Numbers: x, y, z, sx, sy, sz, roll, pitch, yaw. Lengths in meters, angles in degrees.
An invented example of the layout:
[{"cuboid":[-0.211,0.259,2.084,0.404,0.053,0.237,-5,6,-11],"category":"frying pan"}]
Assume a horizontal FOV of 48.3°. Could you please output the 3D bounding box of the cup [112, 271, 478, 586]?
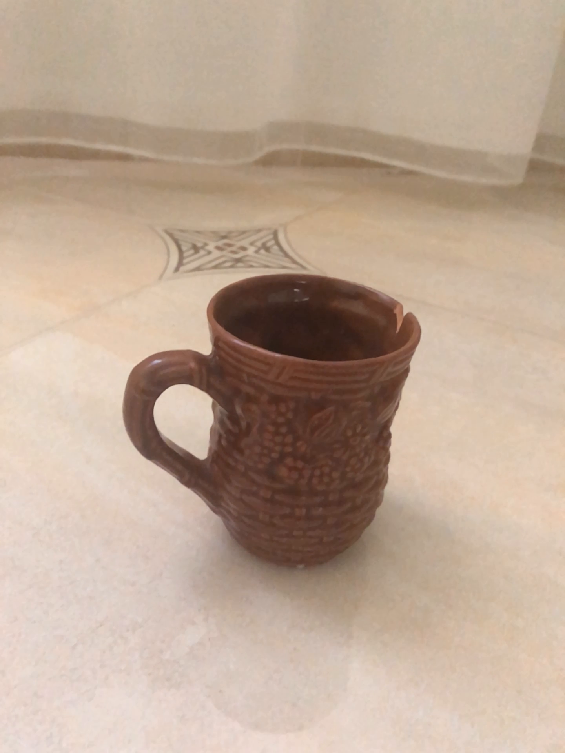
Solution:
[{"cuboid":[-0.003,0.015,0.227,0.104,0.081,0.073,-1,31,-10],"category":"cup"}]
